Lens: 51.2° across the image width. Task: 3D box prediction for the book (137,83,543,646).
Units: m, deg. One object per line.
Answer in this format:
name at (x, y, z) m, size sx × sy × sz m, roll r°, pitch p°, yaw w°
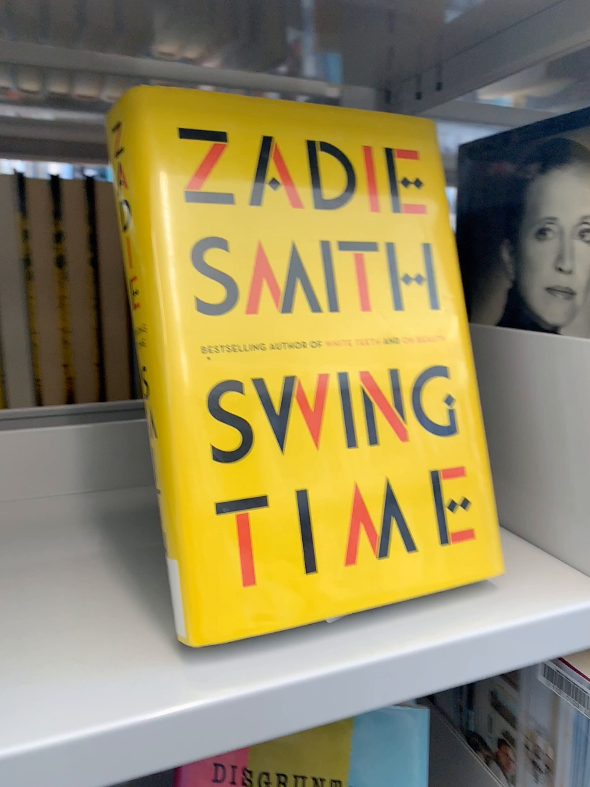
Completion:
book at (0.021, -0.020, 0.312) m, size 0.168 × 0.233 × 0.060 m, roll -4°, pitch -7°, yaw -24°
